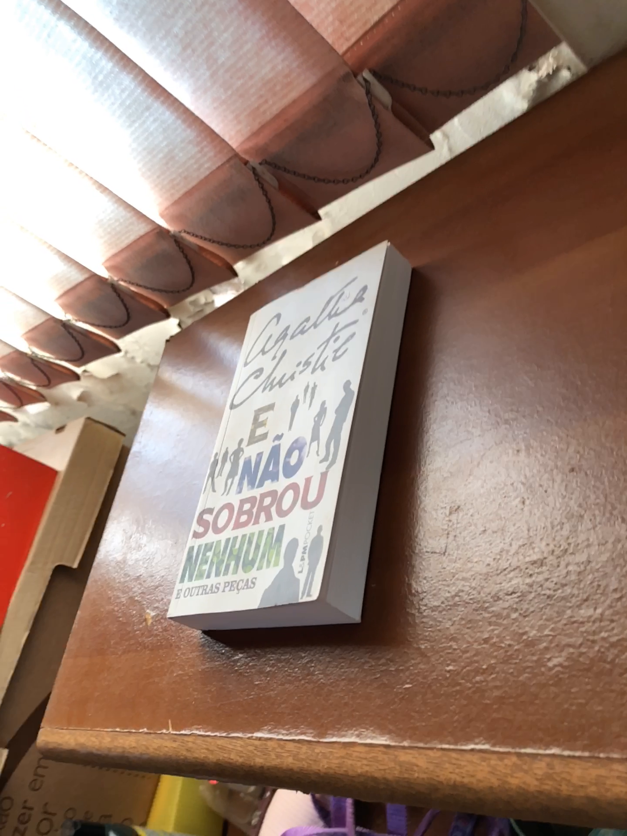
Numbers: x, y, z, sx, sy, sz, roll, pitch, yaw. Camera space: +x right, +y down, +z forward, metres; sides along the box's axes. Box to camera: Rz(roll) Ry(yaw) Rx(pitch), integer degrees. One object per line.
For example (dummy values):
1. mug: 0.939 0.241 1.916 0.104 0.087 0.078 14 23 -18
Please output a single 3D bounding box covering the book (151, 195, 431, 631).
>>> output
1. book: -0.008 -0.002 0.314 0.110 0.024 0.186 -20 48 45
